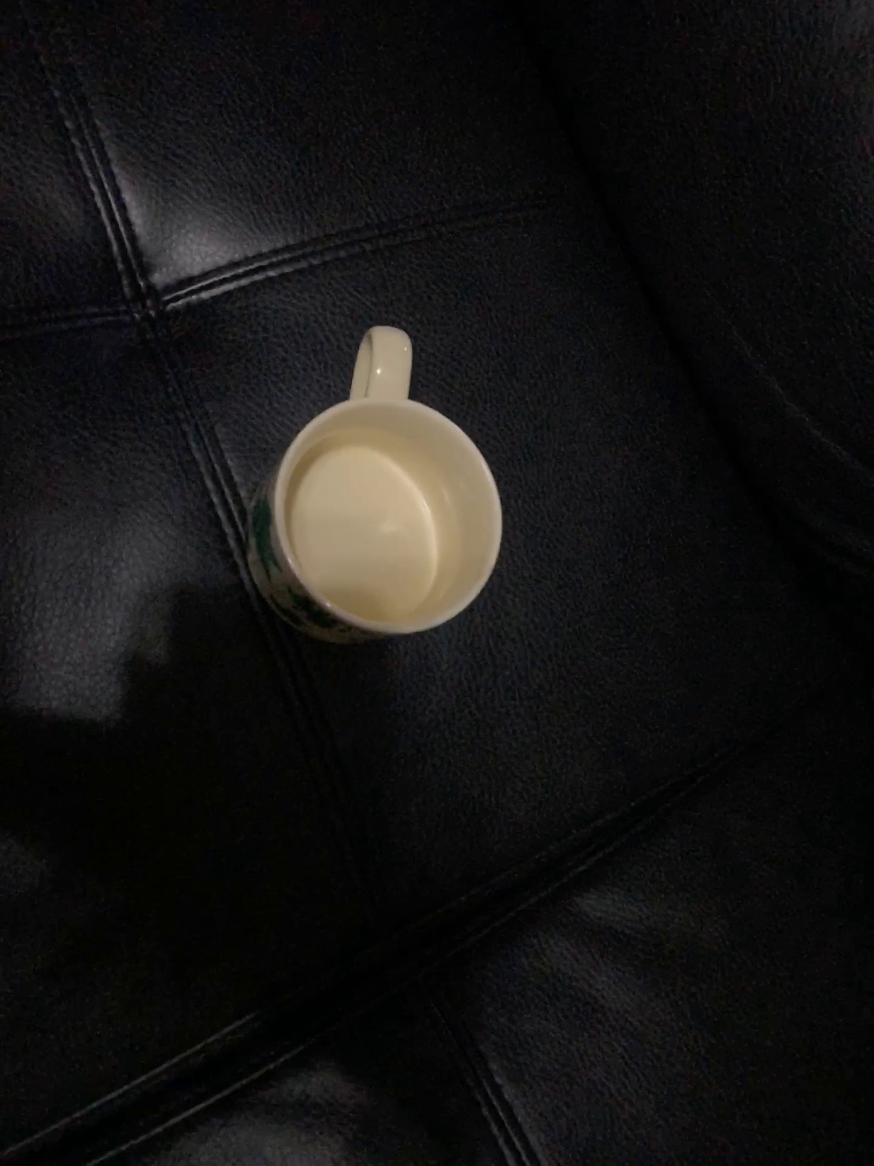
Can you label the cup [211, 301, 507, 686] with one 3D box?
[{"bbox_3d":[-0.029,-0.026,0.328,0.090,0.060,0.118,6,77,-20],"label":"cup"}]
